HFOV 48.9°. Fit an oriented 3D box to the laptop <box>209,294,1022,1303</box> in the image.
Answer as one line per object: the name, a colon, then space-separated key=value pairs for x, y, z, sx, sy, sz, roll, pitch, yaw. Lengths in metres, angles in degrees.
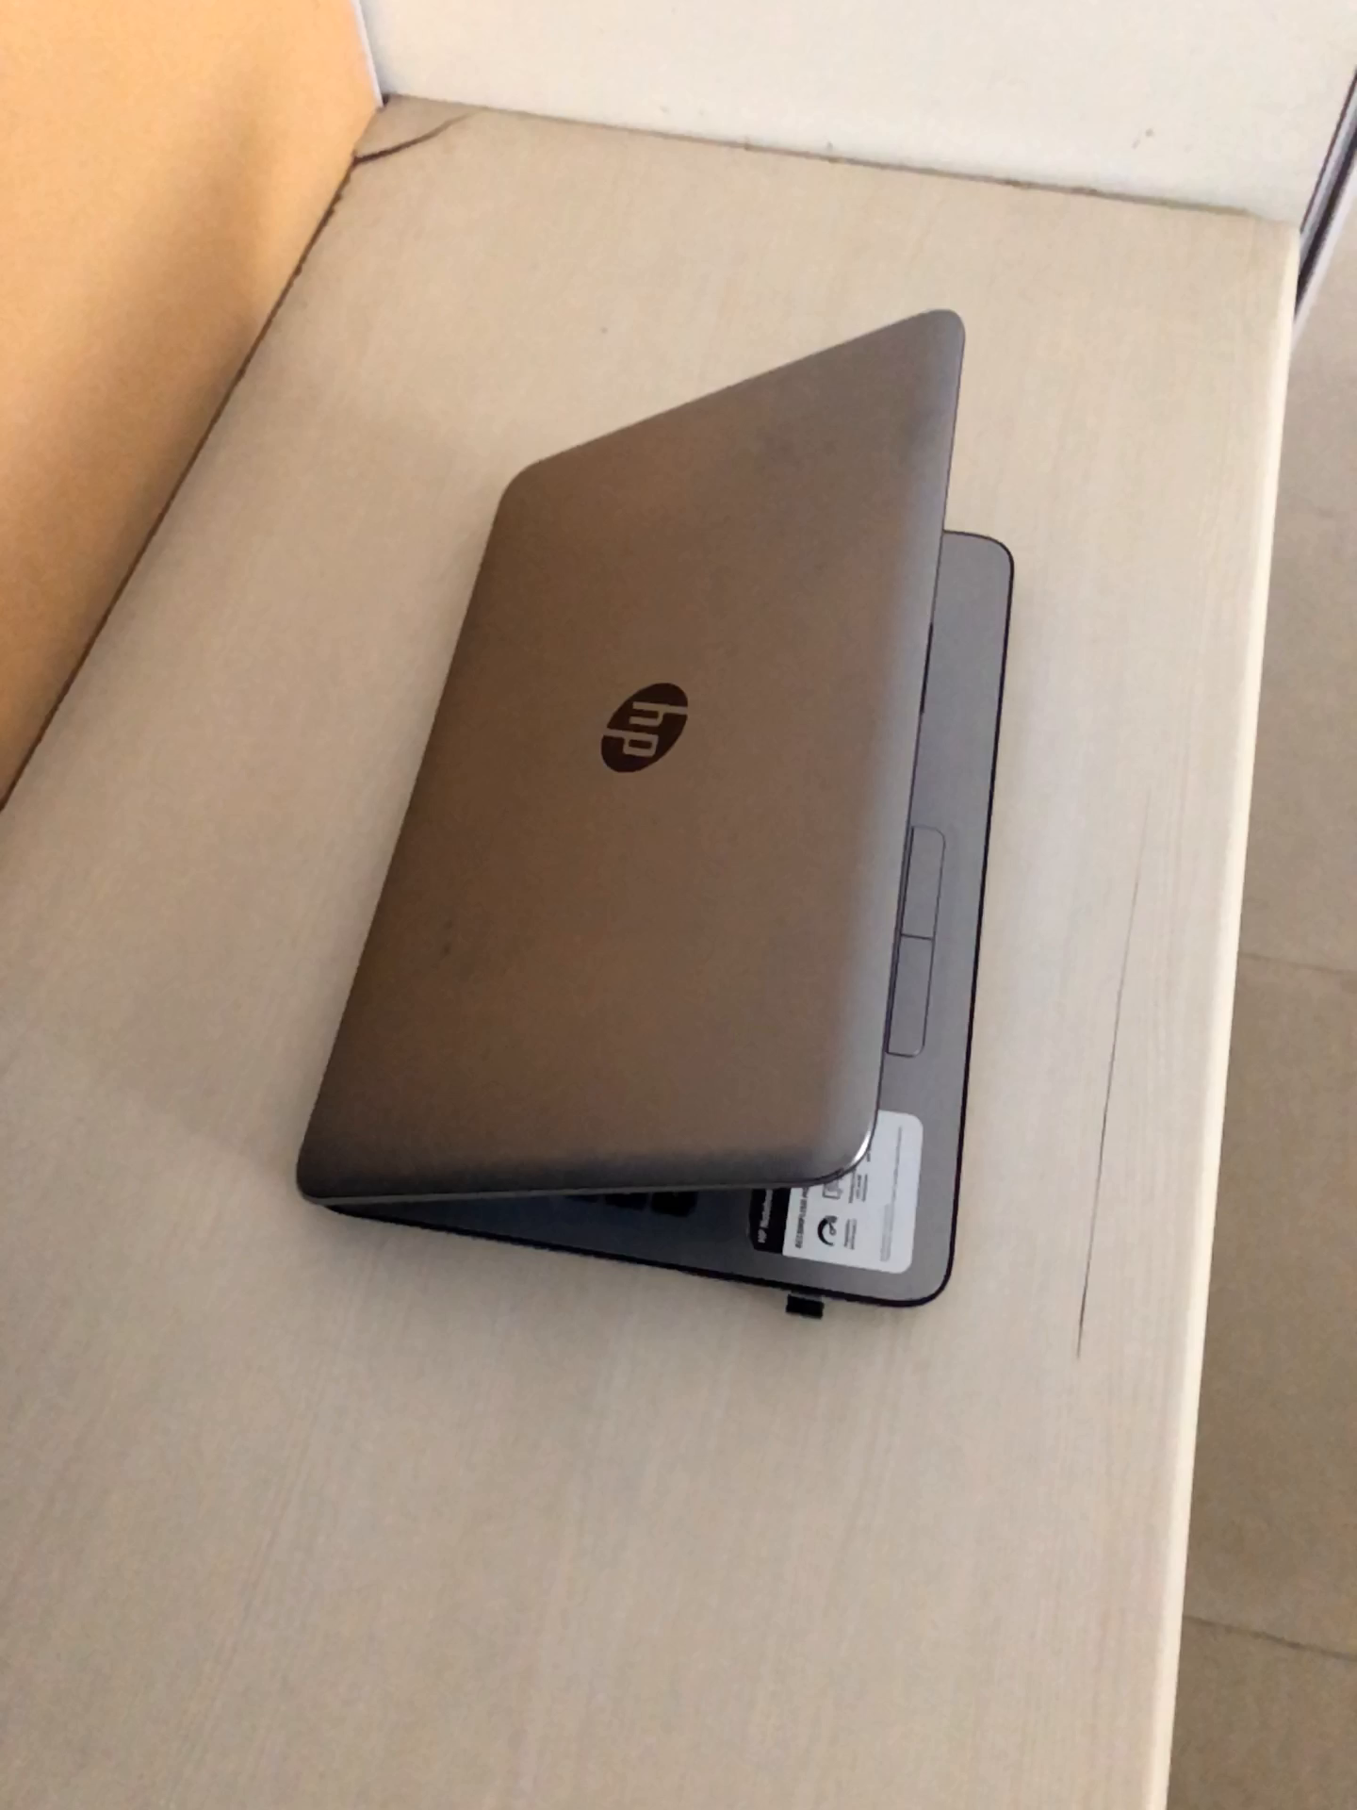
laptop: x=0.001 y=-0.059 z=0.596 sx=0.237 sy=0.133 sz=0.364 roll=6 pitch=60 yaw=7
